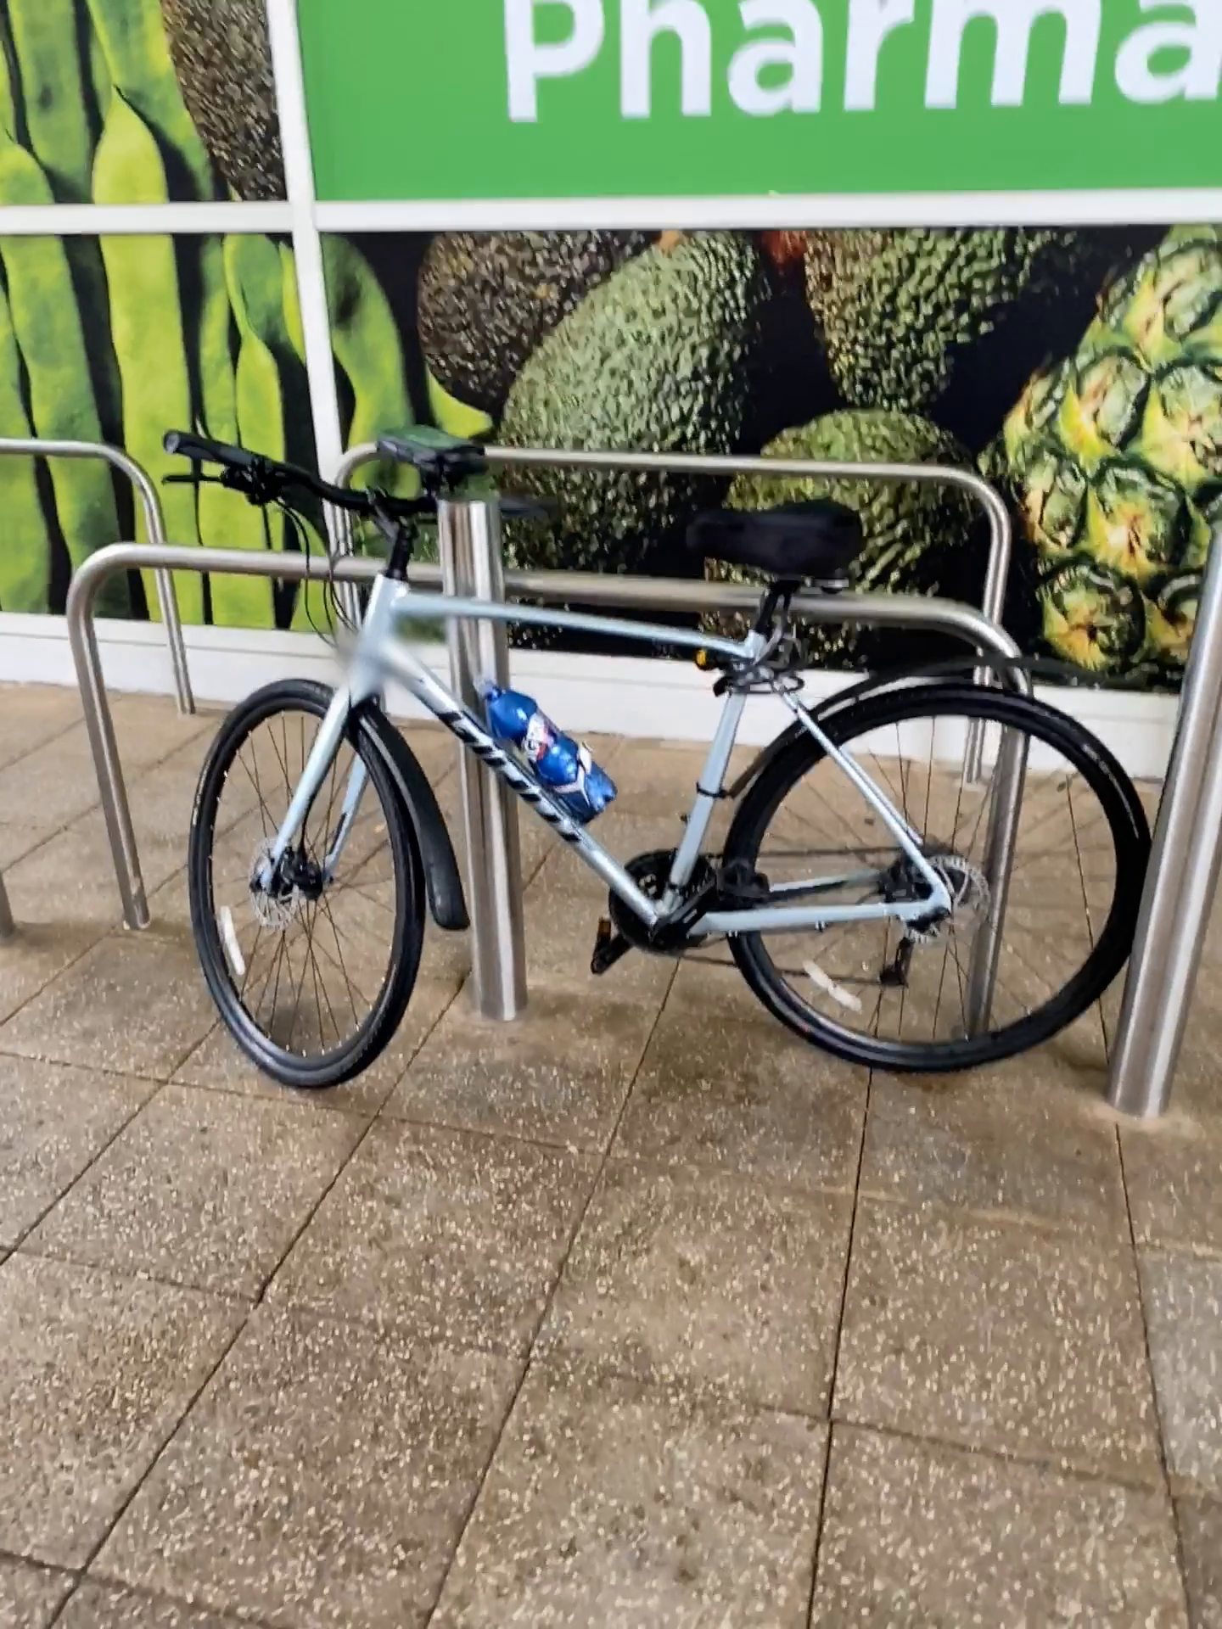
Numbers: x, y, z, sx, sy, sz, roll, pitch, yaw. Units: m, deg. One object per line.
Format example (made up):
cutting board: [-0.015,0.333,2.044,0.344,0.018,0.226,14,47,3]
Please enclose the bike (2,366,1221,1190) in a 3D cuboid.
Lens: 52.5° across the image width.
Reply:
bike: [0.051,-0.109,1.825,1.461,0.963,0.609,3,25,7]
